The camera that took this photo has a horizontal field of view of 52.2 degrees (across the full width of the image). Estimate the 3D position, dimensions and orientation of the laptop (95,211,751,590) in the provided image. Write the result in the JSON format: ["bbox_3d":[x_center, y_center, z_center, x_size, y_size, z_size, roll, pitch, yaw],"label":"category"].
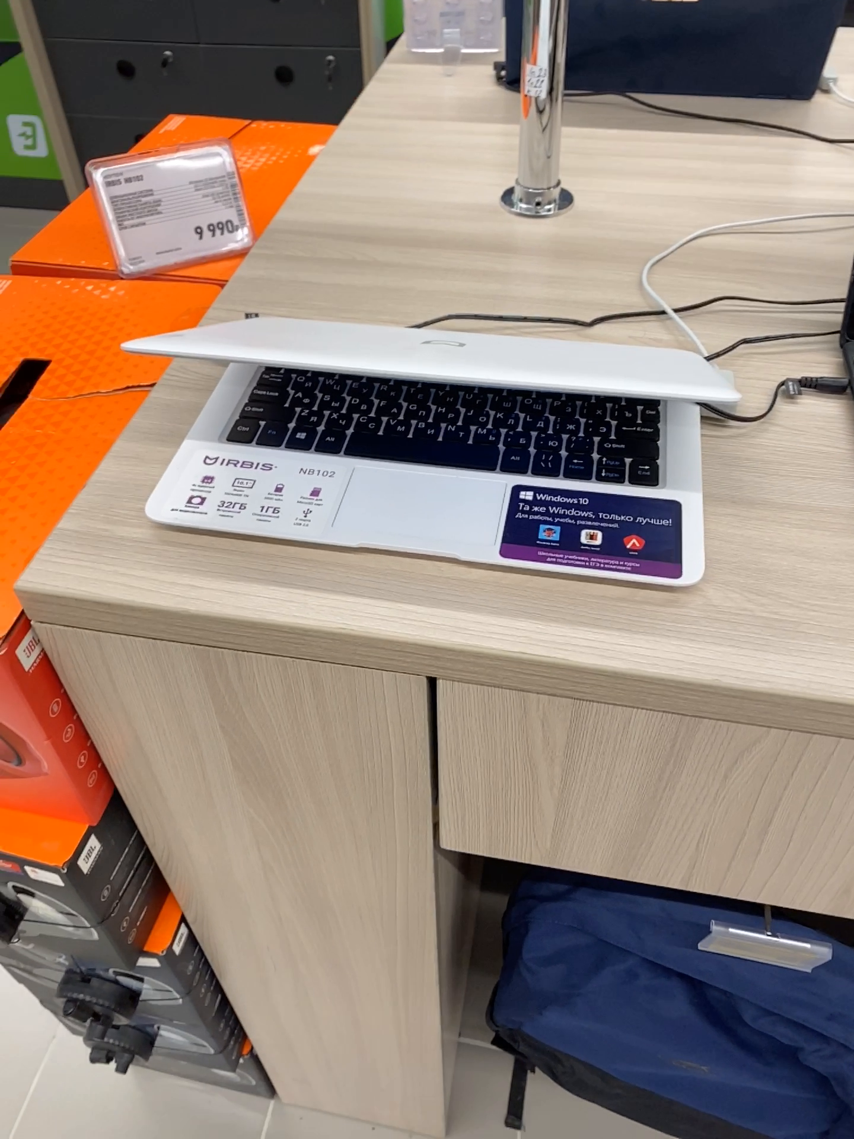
[{"bbox_3d":[0.008,-0.099,0.452,0.280,0.078,0.179,7,47,9],"label":"laptop"}]
